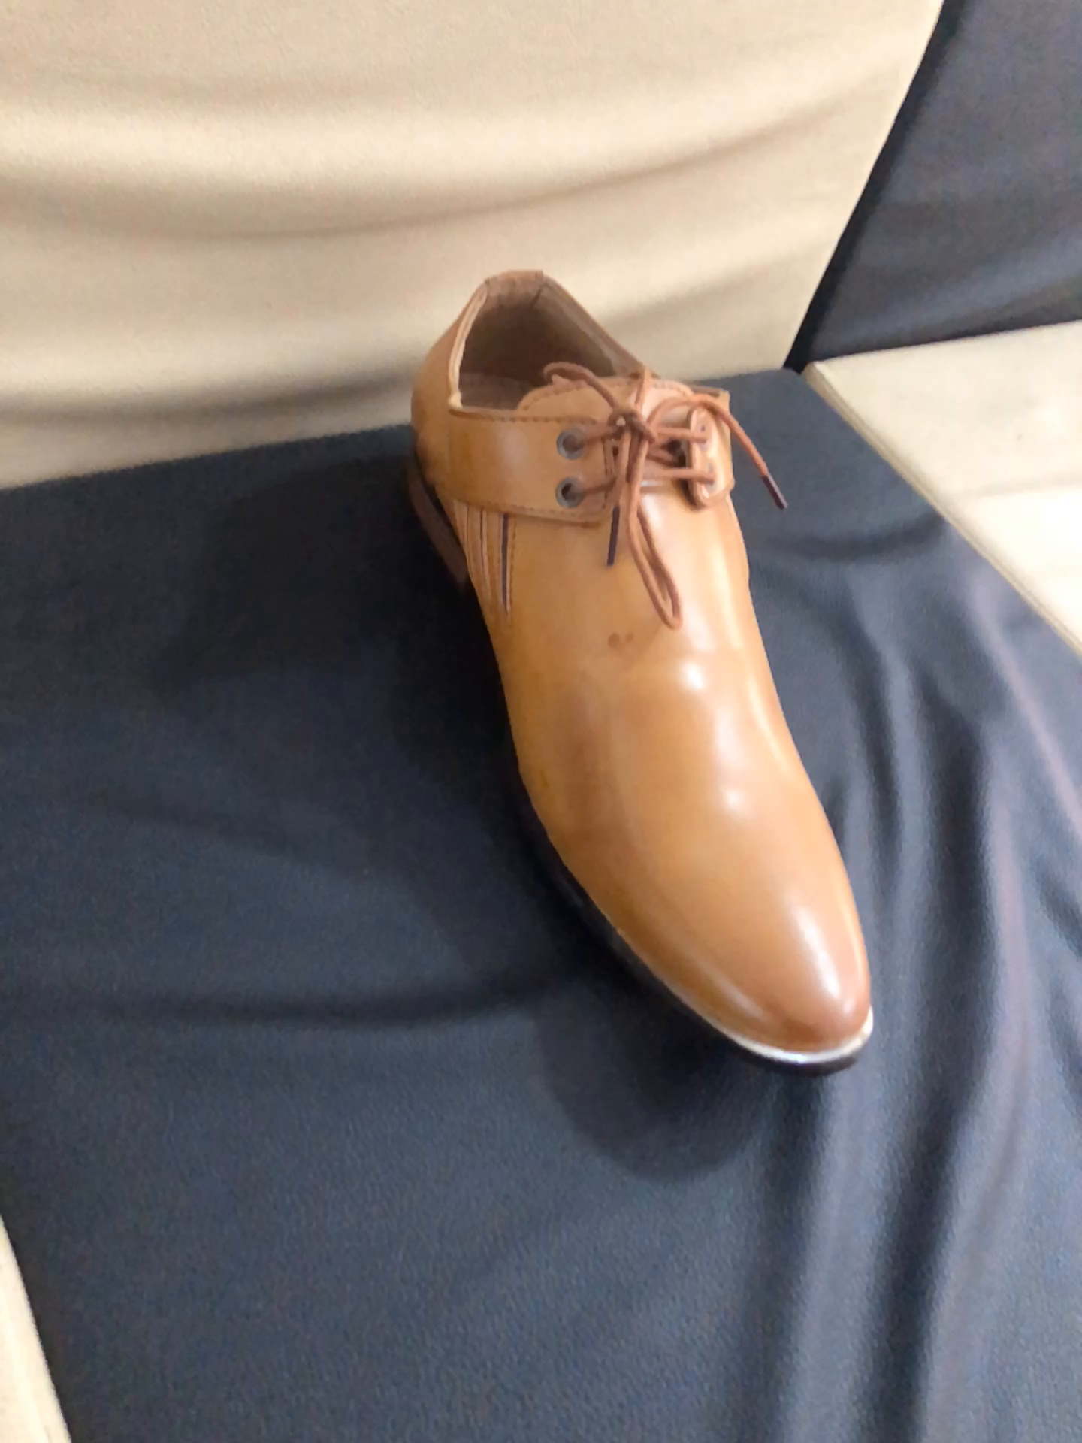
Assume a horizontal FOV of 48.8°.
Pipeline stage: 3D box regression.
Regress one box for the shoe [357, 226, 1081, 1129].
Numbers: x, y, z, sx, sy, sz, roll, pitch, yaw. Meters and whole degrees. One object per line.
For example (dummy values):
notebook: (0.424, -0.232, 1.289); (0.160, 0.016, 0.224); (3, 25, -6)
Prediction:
shoe: (0.039, -0.037, 0.357); (0.110, 0.080, 0.270); (-8, 54, -23)
